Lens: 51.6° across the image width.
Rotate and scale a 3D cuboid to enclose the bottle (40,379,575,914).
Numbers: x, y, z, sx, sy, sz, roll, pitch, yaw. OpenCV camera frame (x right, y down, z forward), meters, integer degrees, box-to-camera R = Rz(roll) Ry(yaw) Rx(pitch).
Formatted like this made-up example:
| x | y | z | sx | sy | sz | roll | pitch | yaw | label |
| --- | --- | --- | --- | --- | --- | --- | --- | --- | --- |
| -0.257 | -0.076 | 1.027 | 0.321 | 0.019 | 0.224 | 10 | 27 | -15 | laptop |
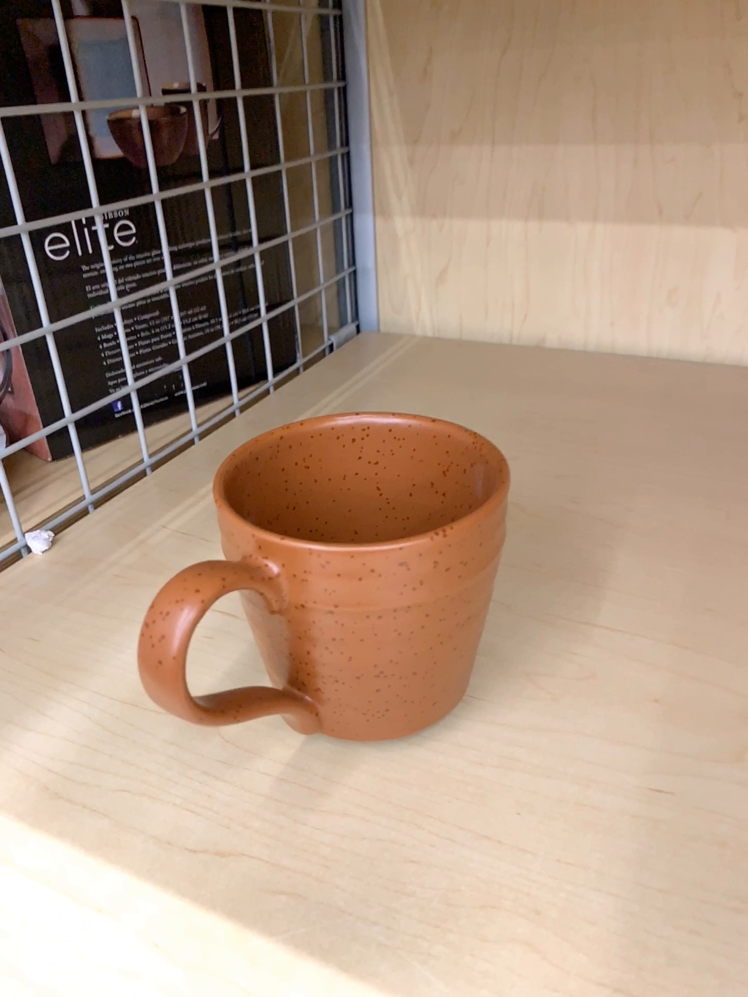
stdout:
| x | y | z | sx | sy | sz | roll | pitch | yaw | label |
| --- | --- | --- | --- | --- | --- | --- | --- | --- | --- |
| -0.012 | 0.032 | 0.265 | 0.100 | 0.090 | 0.140 | 18 | 35 | 34 | bottle |
